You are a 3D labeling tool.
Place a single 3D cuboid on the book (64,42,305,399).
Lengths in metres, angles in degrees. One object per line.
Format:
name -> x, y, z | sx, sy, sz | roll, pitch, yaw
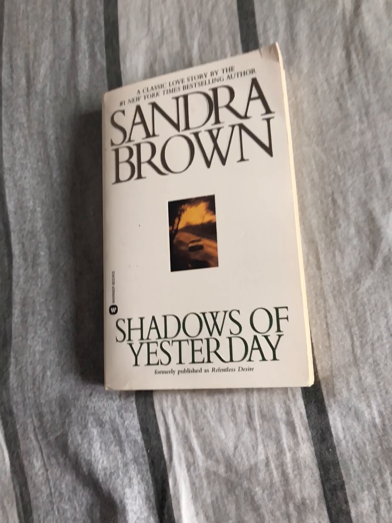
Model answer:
book -> -0.009, -0.020, 0.241 | 0.120, 0.030, 0.180 | -4, 79, 13
